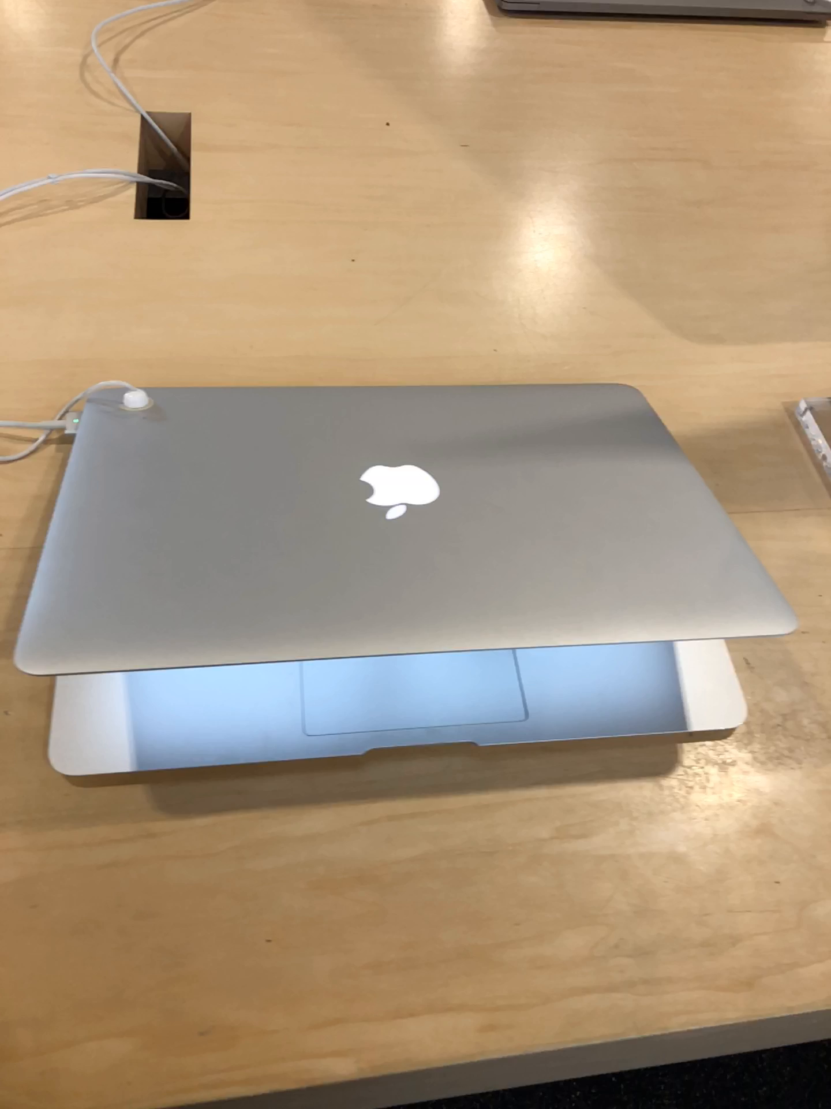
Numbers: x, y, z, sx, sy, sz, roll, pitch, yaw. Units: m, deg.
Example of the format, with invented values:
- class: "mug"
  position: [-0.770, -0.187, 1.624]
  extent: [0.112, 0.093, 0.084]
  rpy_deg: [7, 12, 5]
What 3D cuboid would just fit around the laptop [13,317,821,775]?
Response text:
- class: "laptop"
  position: [-0.006, -0.018, 0.444]
  extent: [0.315, 0.067, 0.216]
  rpy_deg: [-2, 54, -8]
